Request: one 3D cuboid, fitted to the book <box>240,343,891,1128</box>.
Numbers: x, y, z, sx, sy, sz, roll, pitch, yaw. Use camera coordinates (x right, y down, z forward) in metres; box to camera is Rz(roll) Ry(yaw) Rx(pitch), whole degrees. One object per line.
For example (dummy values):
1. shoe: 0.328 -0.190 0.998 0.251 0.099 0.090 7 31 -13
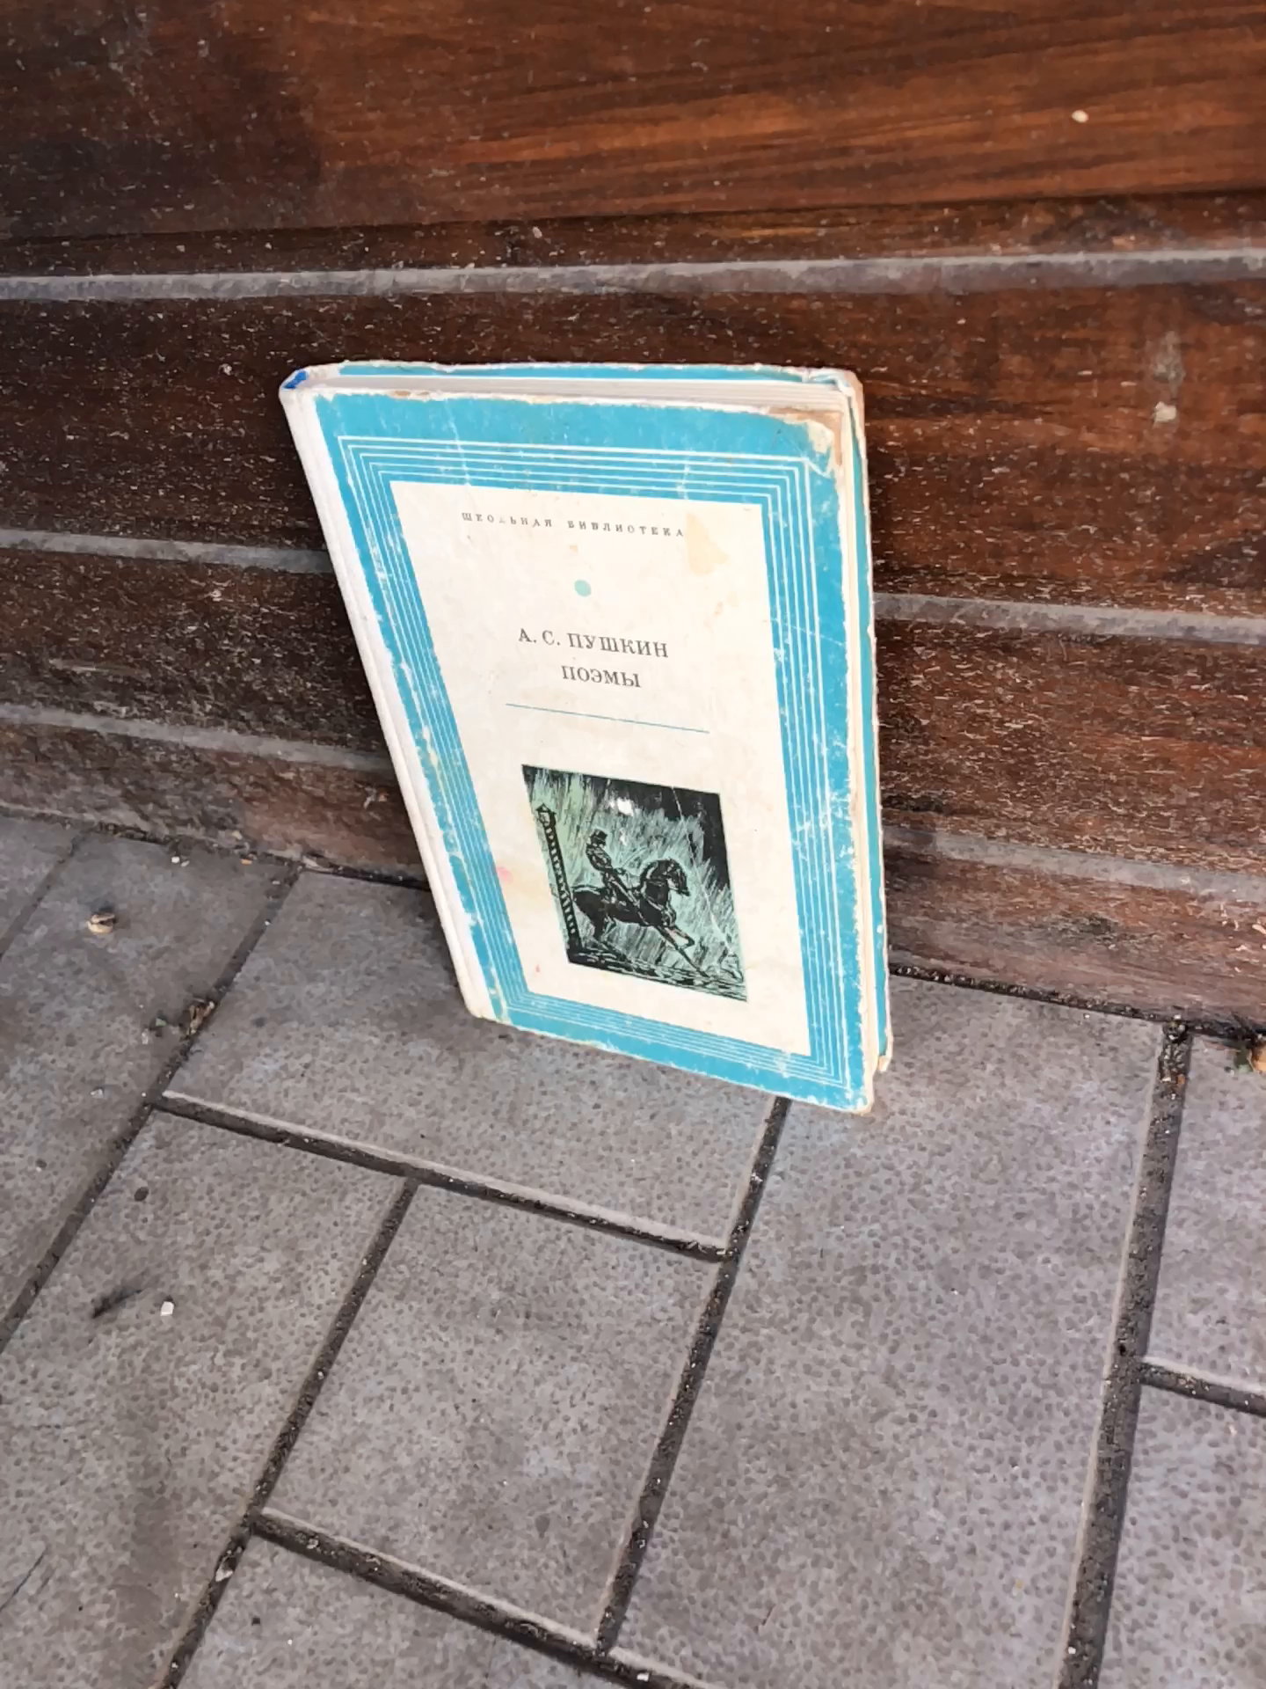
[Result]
1. book: -0.007 -0.021 0.340 0.130 0.189 0.030 10 41 24
